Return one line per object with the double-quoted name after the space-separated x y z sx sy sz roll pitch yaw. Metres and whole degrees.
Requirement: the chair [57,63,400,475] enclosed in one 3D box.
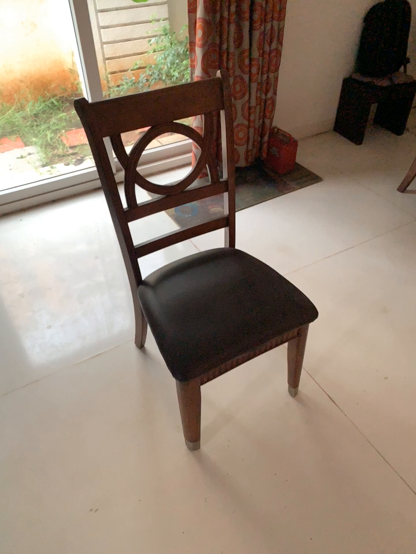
0.011 -0.003 1.363 0.570 1.026 0.642 -21 47 -20 "chair"
